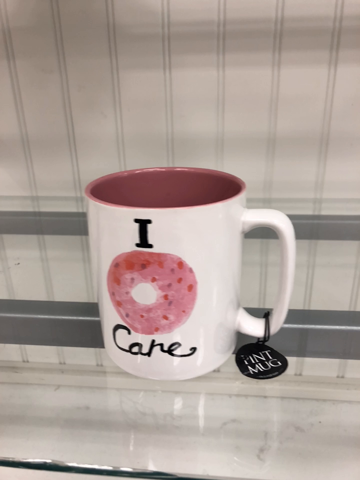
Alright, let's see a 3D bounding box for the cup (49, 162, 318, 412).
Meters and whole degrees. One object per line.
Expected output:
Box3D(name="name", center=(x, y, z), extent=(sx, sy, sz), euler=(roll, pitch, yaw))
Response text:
Box3D(name="cup", center=(0.010, 0.018, 0.262), extent=(0.137, 0.112, 0.101), euler=(5, 23, 15))
